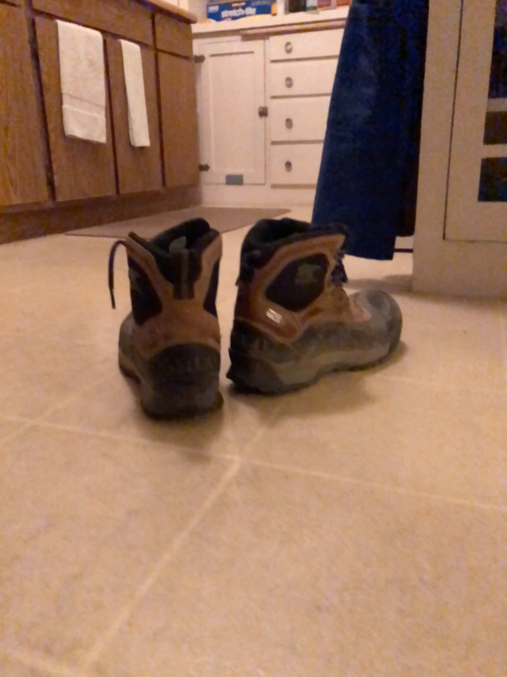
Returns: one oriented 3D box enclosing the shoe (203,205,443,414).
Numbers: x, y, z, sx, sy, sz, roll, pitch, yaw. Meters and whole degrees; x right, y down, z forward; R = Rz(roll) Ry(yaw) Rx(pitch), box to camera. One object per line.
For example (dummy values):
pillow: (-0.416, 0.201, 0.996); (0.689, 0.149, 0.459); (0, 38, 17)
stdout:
shoe: (0.094, -0.055, 0.683); (0.293, 0.185, 0.113); (-17, 23, -39)

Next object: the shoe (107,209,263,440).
shoe: (-0.094, -0.043, 0.659); (0.122, 0.185, 0.300); (-6, 19, -16)
